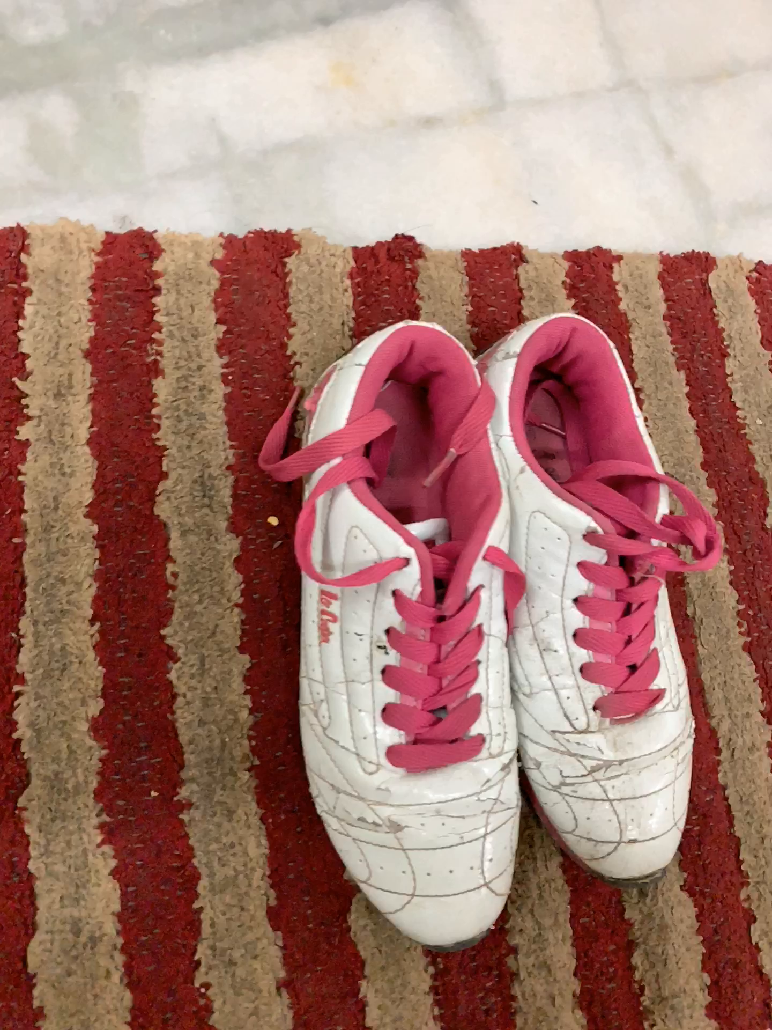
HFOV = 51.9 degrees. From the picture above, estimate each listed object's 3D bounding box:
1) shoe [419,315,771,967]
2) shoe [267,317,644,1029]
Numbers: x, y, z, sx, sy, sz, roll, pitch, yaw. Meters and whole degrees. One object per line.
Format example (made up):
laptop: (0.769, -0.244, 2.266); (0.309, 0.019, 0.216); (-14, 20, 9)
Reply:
shoe: (0.093, 0.044, 0.353); (0.100, 0.100, 0.240); (-4, 77, -15)
shoe: (0.013, 0.053, 0.320); (0.090, 0.100, 0.240); (-4, 77, -15)
